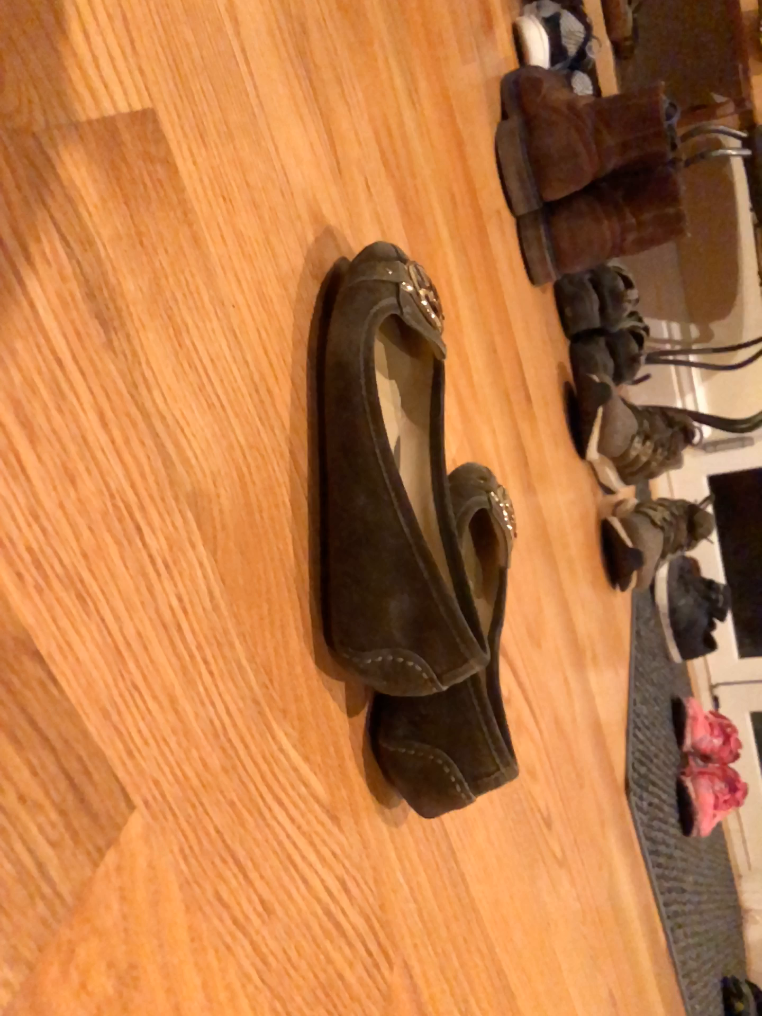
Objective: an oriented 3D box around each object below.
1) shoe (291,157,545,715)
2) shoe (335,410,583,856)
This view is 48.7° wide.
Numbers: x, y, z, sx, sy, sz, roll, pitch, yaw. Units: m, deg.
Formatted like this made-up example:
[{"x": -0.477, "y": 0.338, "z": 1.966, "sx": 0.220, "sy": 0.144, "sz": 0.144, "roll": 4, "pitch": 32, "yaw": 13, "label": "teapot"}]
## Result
[{"x": 0.020, "y": -0.033, "z": 0.405, "sx": 0.091, "sy": 0.079, "sz": 0.242, "roll": 41, "pitch": 44, "yaw": -57, "label": "shoe"}, {"x": 0.058, "y": 0.056, "z": 0.466, "sx": 0.240, "sy": 0.079, "sz": 0.091, "roll": -71, "pitch": 144, "yaw": -49, "label": "shoe"}]
